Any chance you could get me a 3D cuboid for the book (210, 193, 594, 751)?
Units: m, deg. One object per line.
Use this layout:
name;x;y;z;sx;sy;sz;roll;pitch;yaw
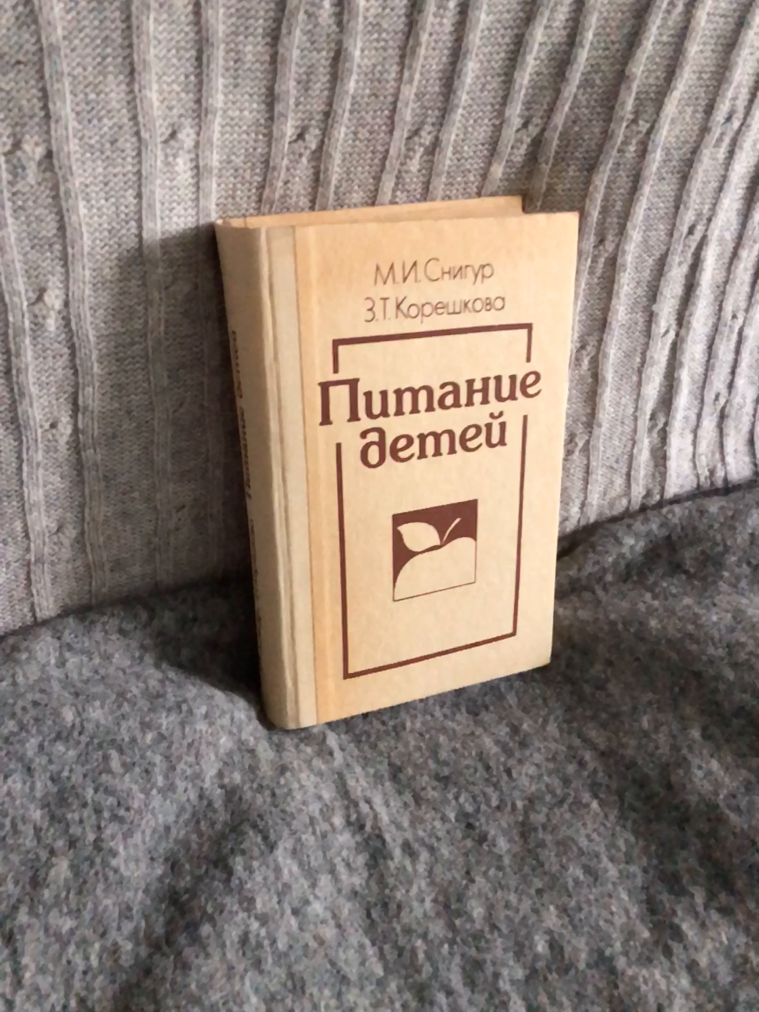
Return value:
book;0.014;-0.015;0.355;0.139;0.212;0.041;-12;25;-22
